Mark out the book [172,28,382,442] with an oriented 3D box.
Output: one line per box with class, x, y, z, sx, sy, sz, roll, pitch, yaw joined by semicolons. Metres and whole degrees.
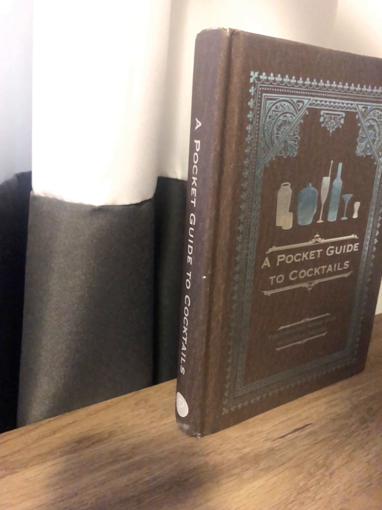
book;0.058;-0.007;0.245;0.137;0.200;0.022;-8;21;-32
